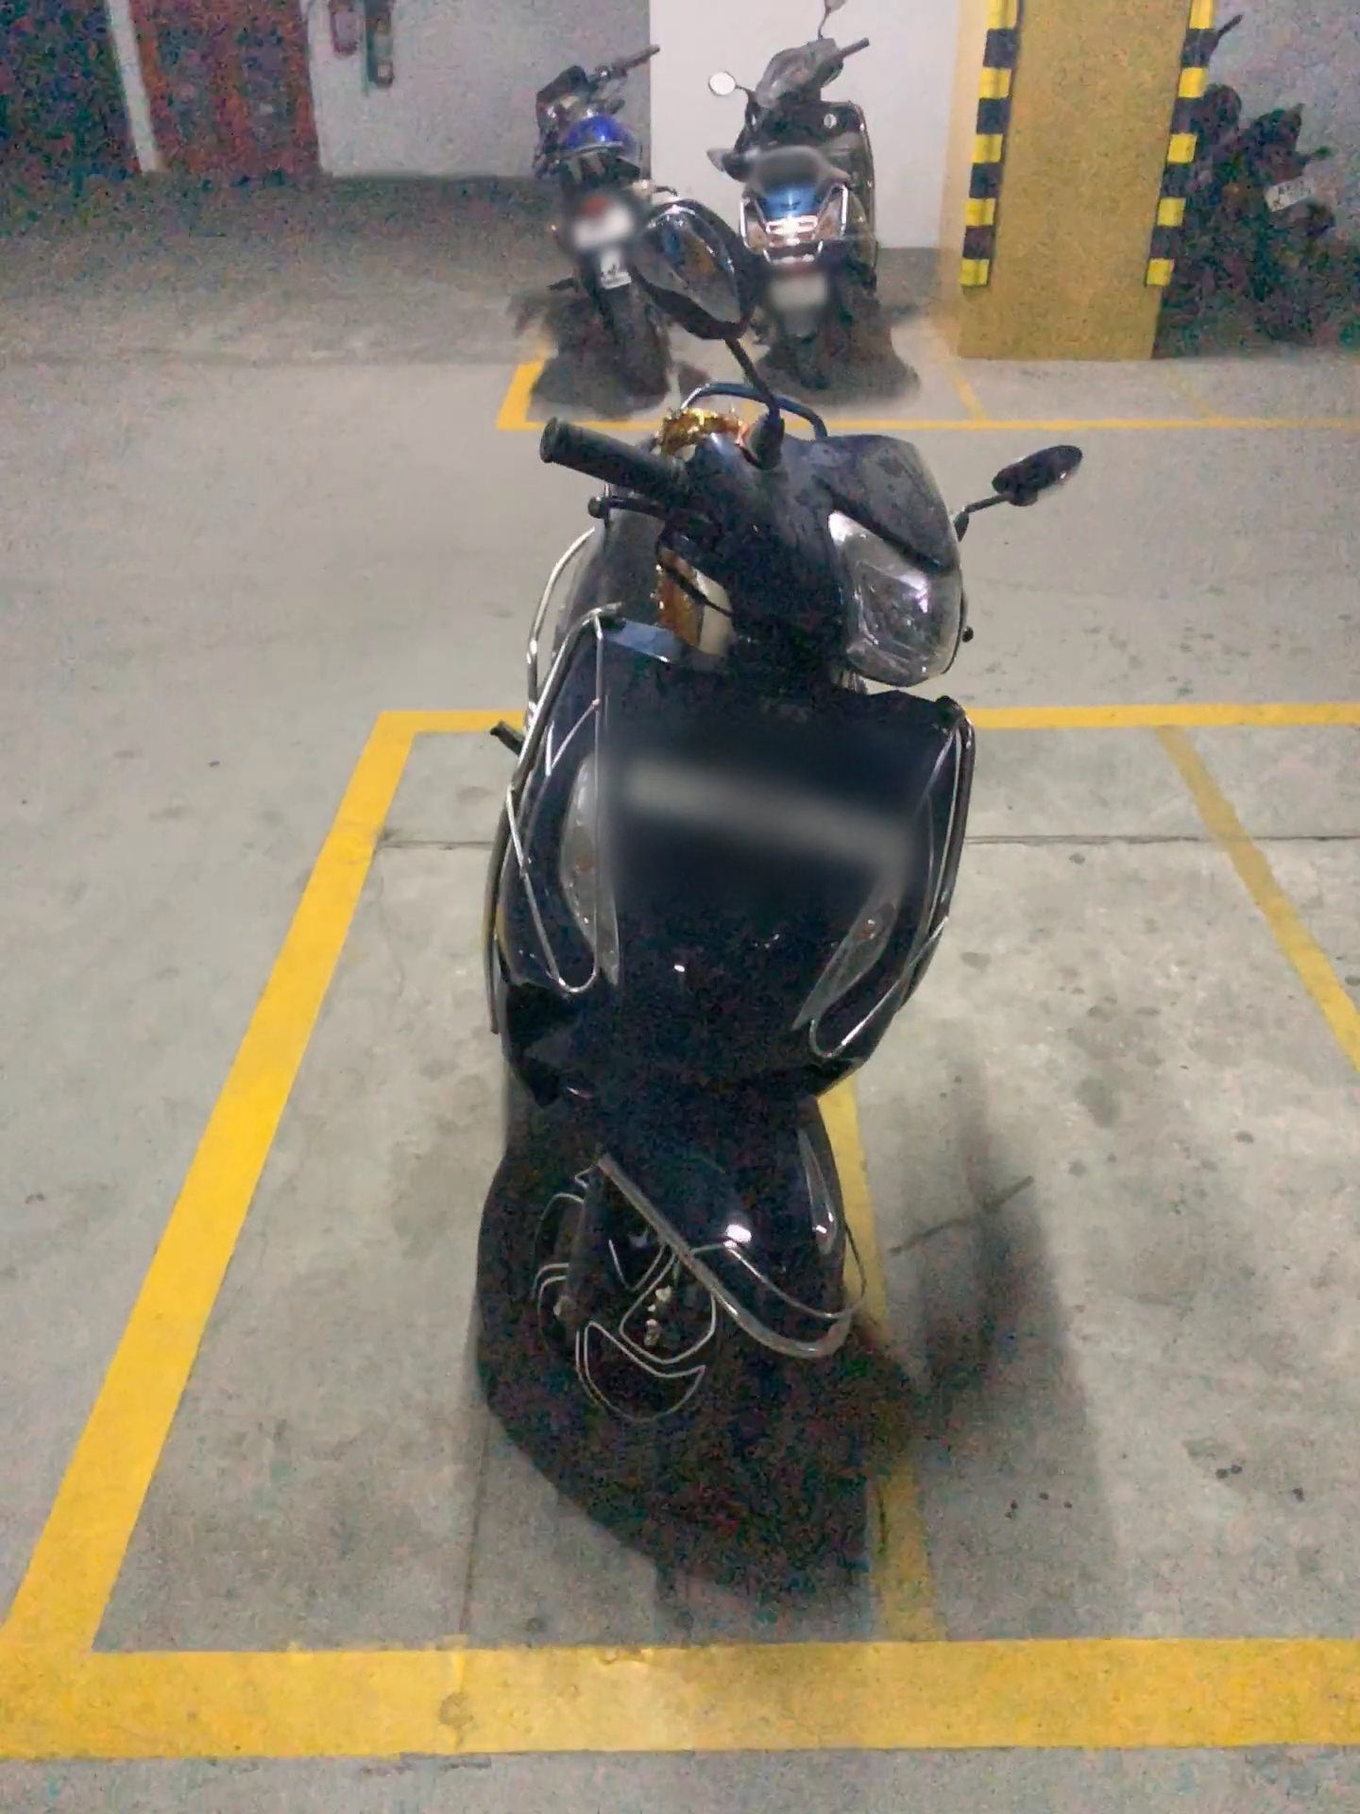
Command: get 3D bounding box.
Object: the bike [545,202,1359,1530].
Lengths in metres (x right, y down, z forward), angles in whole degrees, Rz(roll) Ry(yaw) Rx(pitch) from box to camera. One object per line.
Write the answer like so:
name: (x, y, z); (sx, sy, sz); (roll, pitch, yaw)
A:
bike: (0.164, -0.244, 2.031); (0.664, 1.028, 1.703); (-2, 38, -4)
